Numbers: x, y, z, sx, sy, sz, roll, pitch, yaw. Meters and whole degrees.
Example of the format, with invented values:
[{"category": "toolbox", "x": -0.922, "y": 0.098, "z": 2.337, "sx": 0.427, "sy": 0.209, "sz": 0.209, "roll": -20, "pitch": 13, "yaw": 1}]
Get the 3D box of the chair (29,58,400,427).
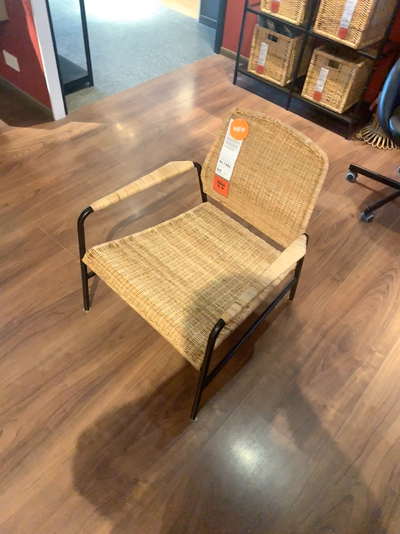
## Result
[{"category": "chair", "x": 0.042, "y": -0.114, "z": 1.423, "sx": 0.711, "sy": 0.758, "sz": 0.791, "roll": 38, "pitch": 55, "yaw": 24}]
